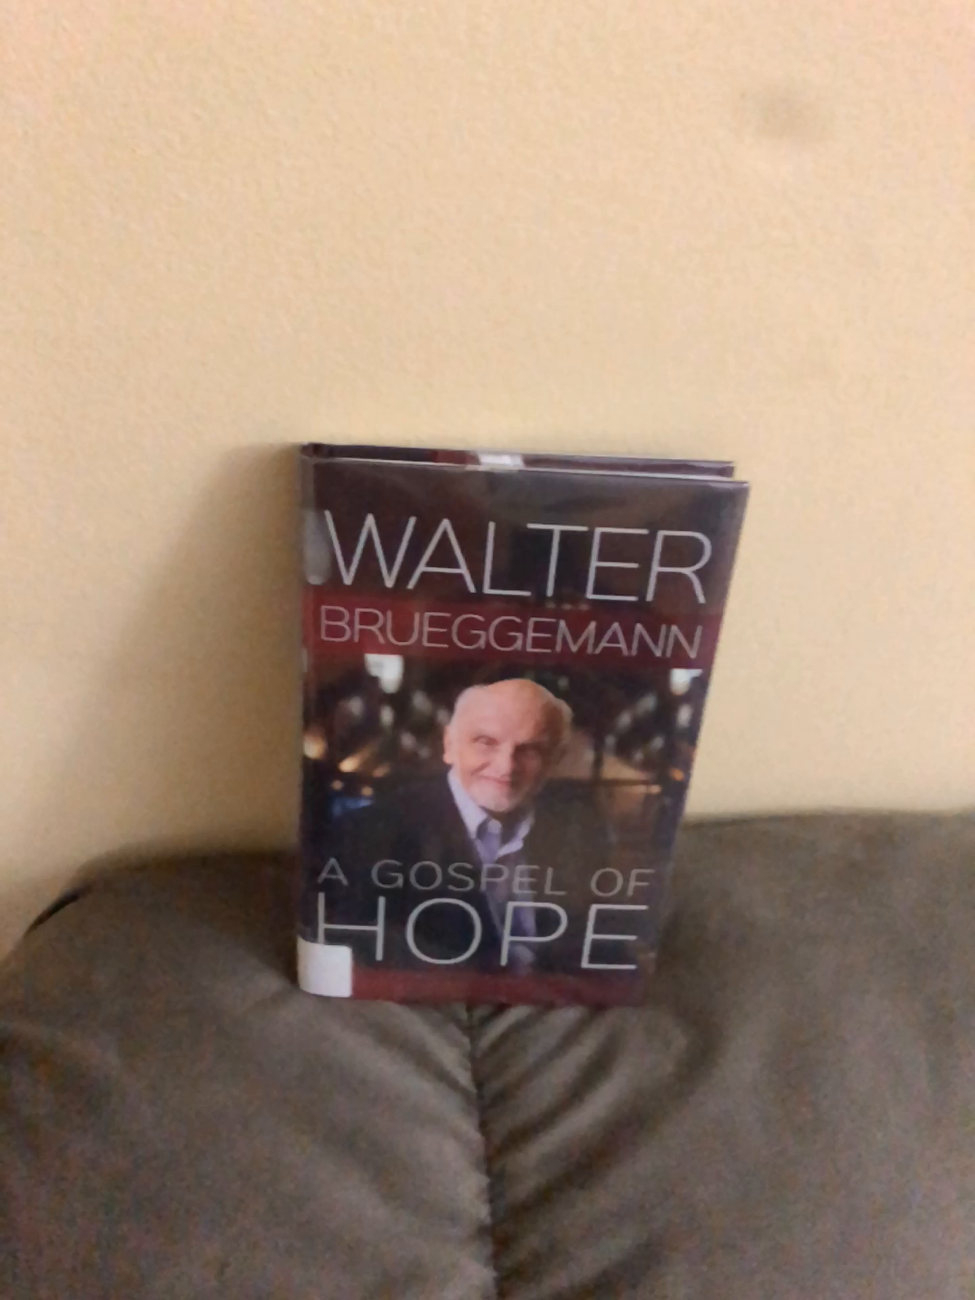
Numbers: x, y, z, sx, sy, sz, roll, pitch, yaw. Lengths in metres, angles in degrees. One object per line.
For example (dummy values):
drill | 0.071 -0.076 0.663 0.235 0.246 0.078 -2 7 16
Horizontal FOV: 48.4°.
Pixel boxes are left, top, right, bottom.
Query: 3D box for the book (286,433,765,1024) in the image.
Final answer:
book | 0.005 0.036 0.375 0.140 0.210 0.027 4 26 0
